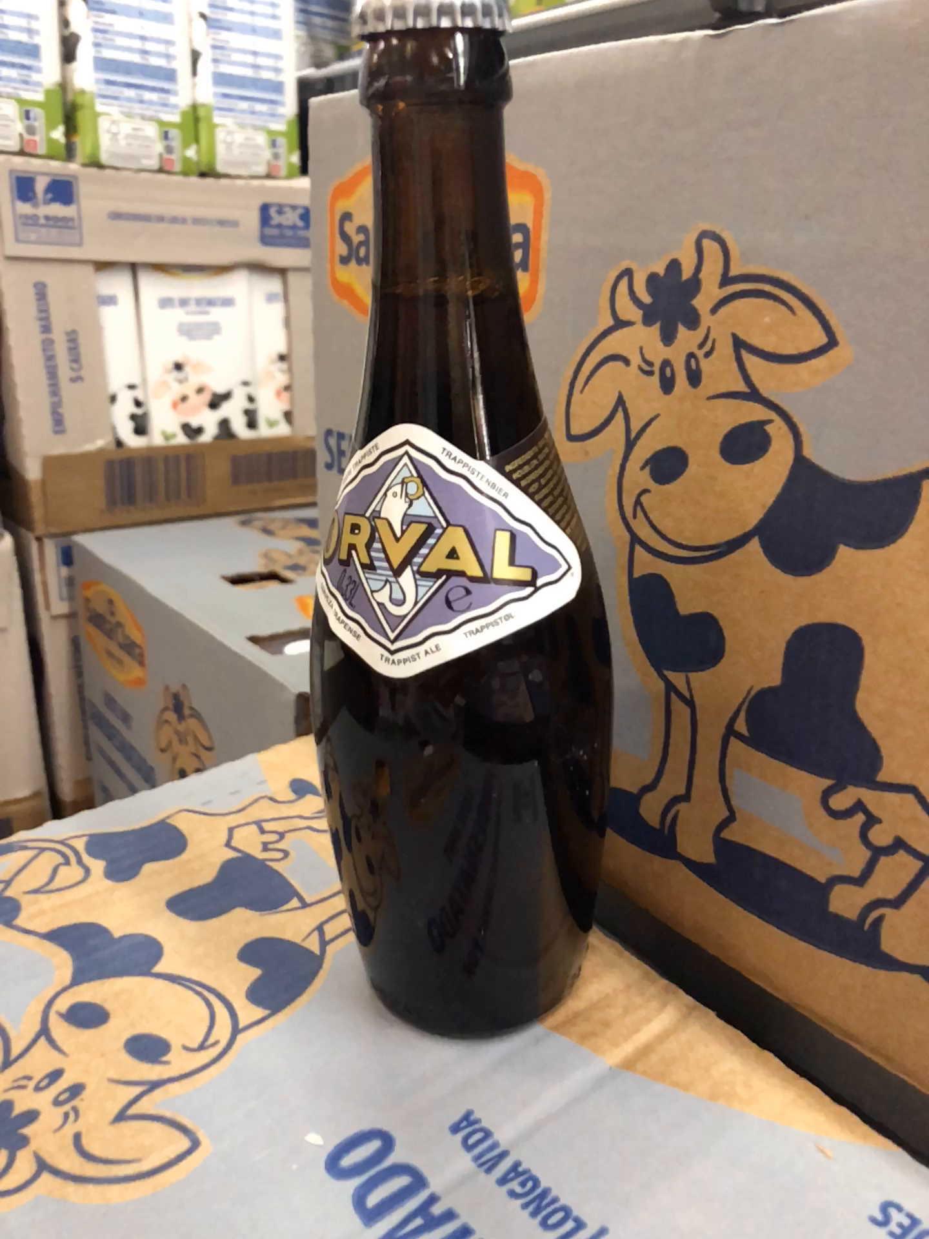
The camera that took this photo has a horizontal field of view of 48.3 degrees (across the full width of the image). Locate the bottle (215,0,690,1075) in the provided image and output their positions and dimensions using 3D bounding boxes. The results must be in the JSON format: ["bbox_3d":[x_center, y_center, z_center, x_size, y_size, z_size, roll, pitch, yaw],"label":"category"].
[{"bbox_3d":[0.000,-0.017,0.224,0.070,0.209,0.060,8,20,21],"label":"bottle"}]
